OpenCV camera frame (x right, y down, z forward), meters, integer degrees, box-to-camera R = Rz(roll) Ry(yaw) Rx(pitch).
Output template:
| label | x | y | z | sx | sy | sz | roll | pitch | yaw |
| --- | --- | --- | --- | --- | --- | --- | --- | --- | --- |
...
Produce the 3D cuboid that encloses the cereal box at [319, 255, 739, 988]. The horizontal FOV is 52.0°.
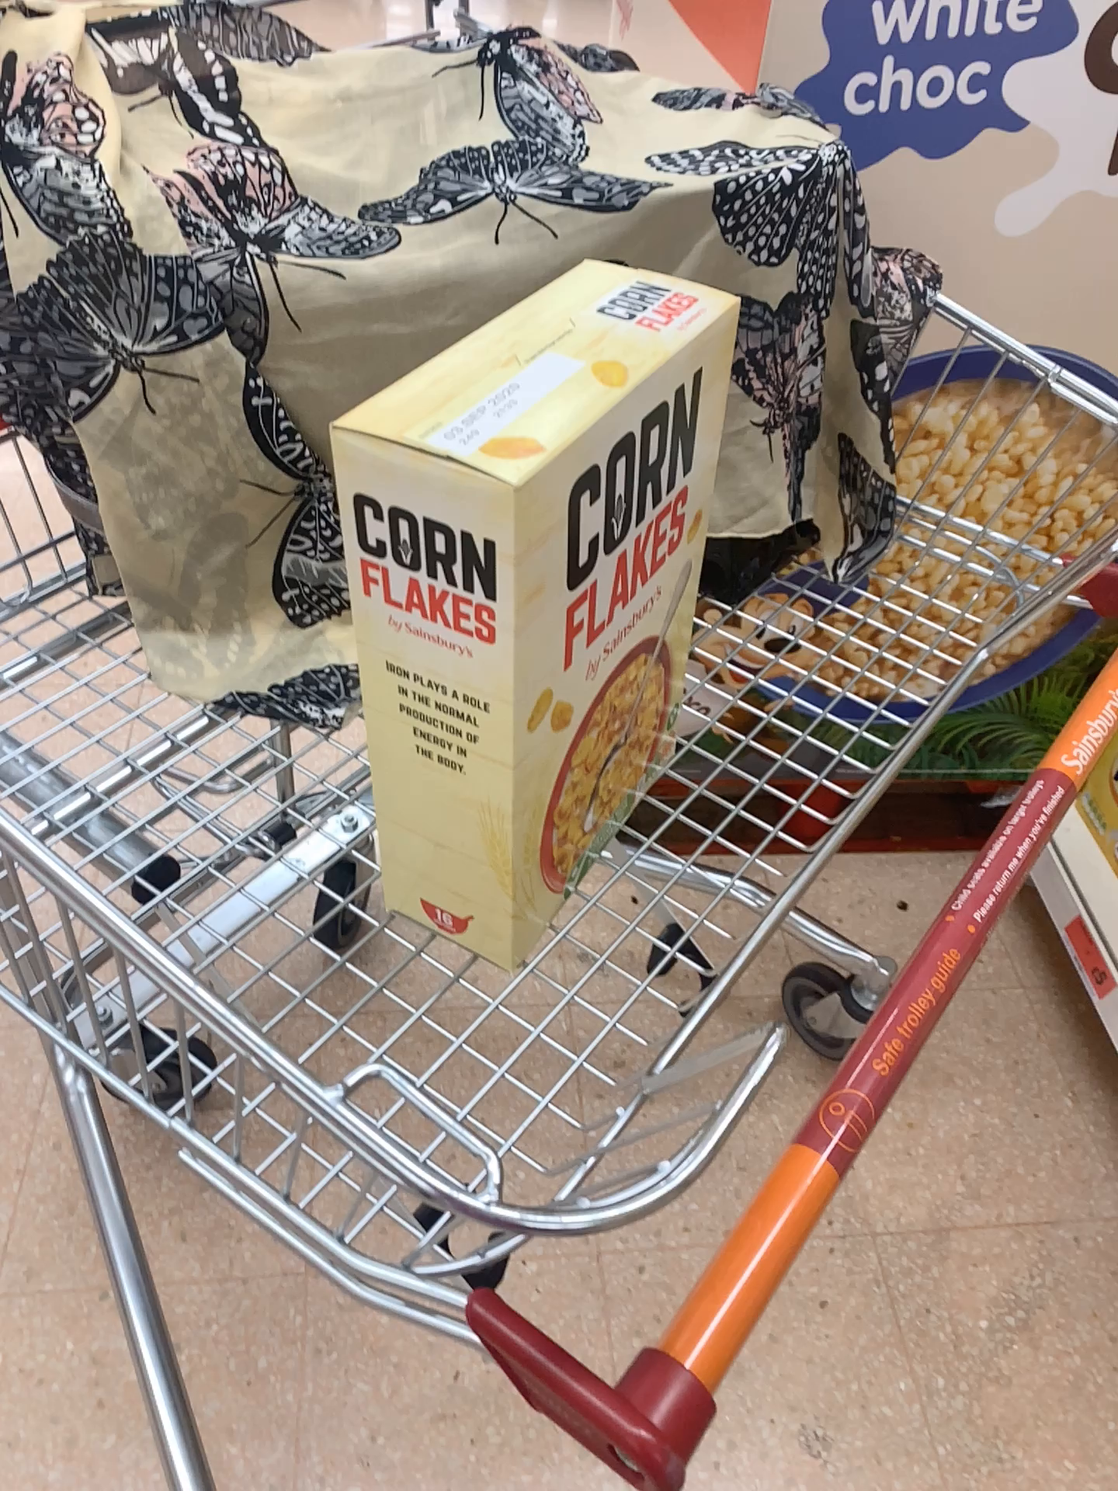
| label | x | y | z | sx | sy | sz | roll | pitch | yaw |
| --- | --- | --- | --- | --- | --- | --- | --- | --- | --- |
| cereal box | -0.010 | -0.053 | 0.542 | 0.080 | 0.277 | 0.191 | 23 | 45 | 19 |
